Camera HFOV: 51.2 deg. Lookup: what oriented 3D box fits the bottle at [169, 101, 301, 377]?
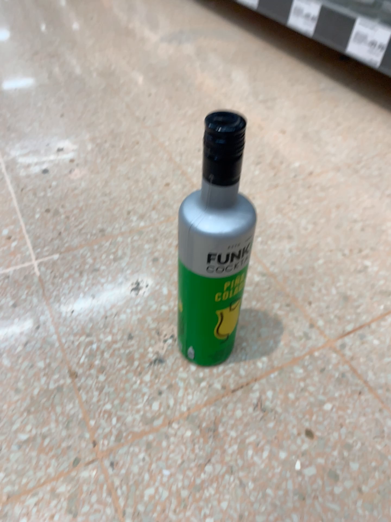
[{"bbox_3d":[0.024,0.001,0.405,0.074,0.284,0.067,1,45,-1],"label":"bottle"}]
